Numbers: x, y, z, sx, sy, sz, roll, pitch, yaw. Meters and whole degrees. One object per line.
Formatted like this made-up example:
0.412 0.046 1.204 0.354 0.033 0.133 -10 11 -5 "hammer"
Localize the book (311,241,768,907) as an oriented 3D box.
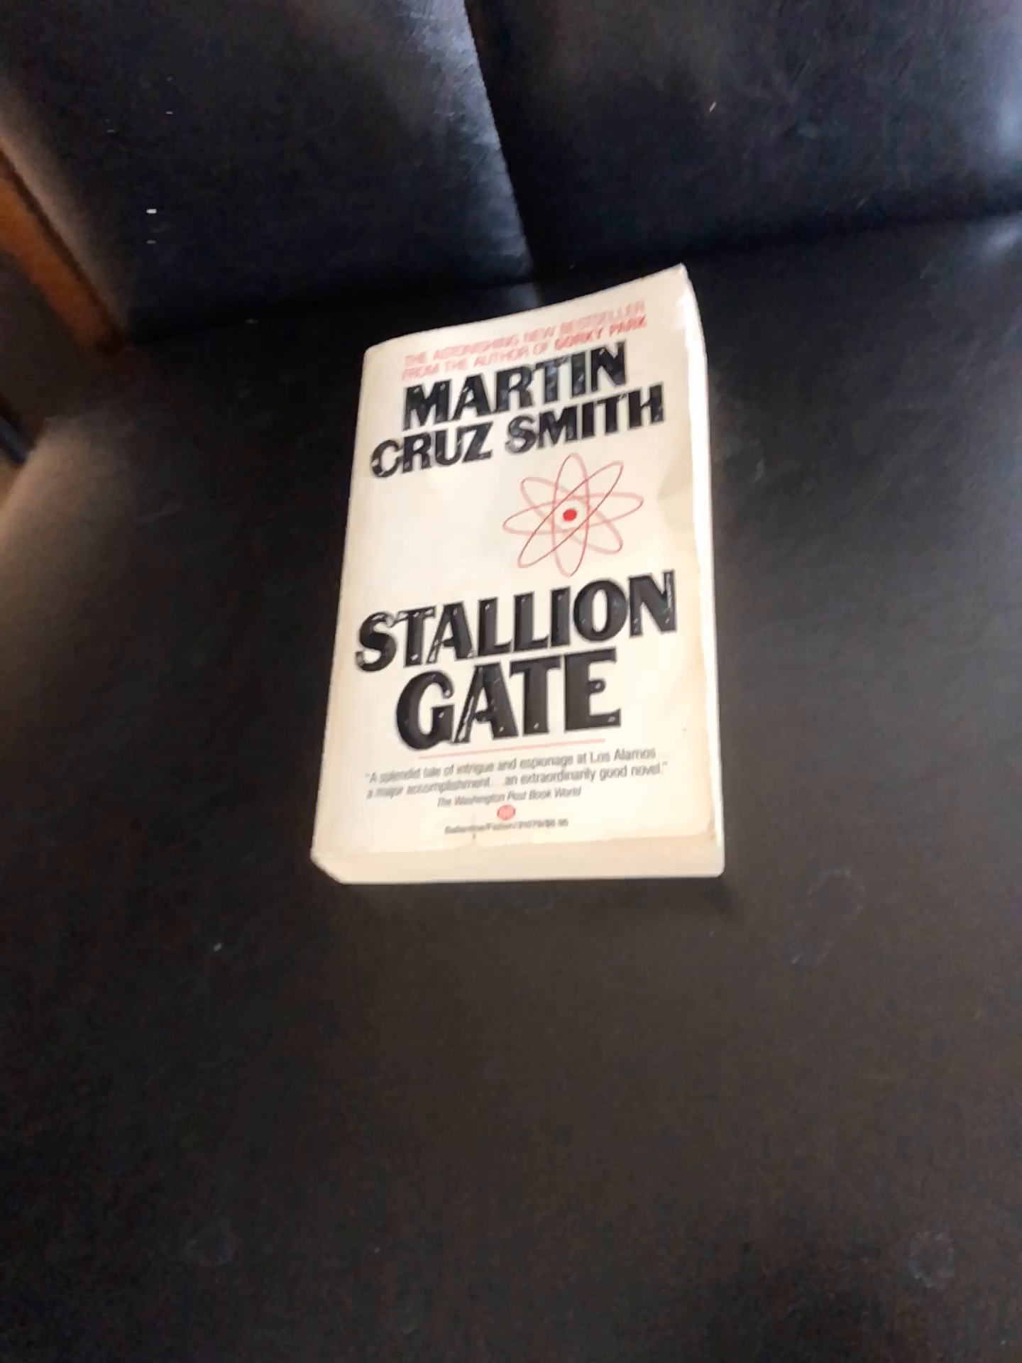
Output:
0.012 -0.034 0.323 0.110 0.030 0.190 -4 64 15 "book"
